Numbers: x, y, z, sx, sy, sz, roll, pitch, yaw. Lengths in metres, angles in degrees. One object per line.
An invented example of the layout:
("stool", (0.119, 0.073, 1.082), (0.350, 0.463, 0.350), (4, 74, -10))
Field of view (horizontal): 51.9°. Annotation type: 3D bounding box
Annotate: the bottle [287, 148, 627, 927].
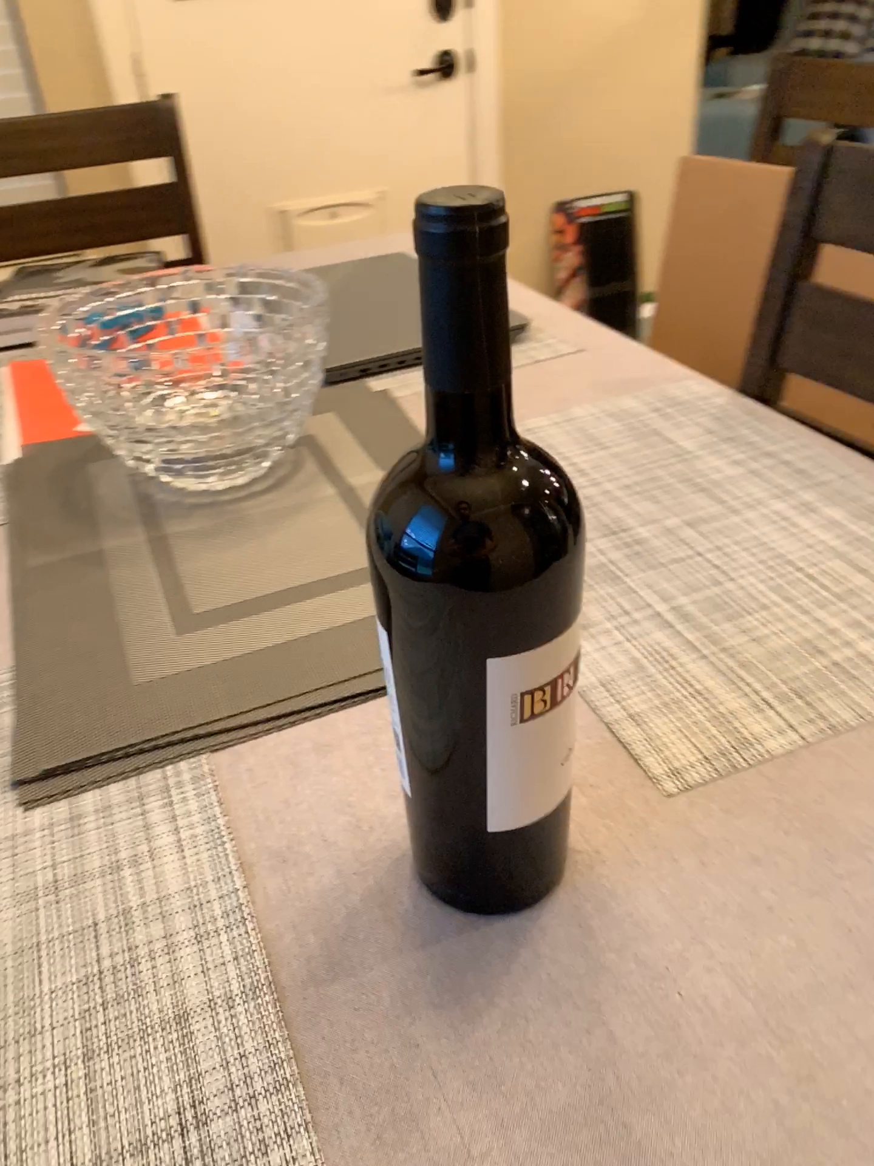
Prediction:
("bottle", (0.019, 0.002, 0.352), (0.090, 0.298, 0.084), (-3, 34, 2))
